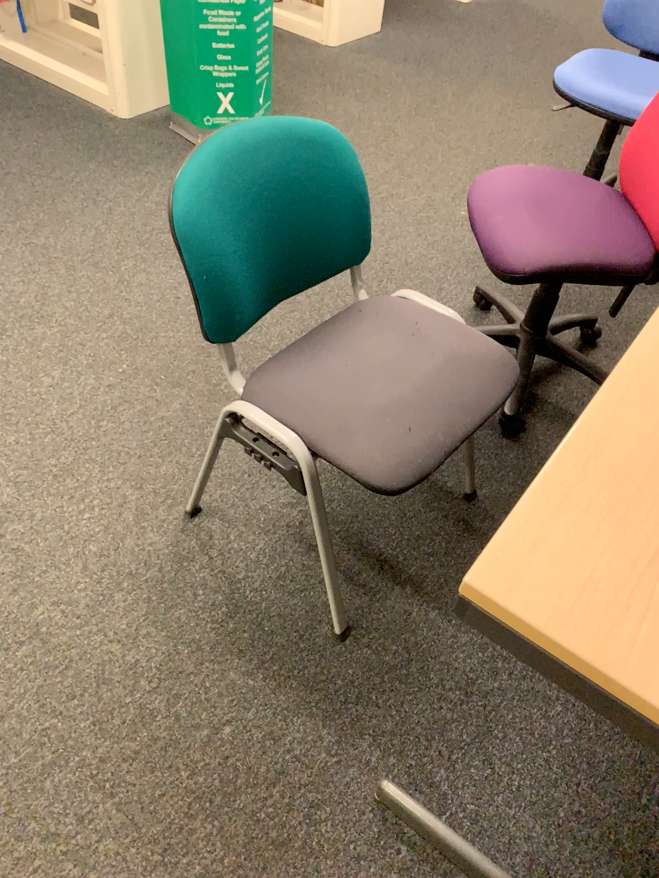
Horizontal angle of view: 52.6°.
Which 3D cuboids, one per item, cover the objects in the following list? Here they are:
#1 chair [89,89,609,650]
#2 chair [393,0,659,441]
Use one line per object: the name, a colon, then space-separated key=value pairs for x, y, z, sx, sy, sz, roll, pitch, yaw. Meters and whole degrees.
chair: x=0.010 y=-0.140 z=1.296 sx=0.600 sy=0.721 sz=0.555 roll=35 pitch=52 yaw=23
chair: x=0.607 y=-0.528 z=1.637 sx=0.668 sy=0.860 sz=0.658 roll=0 pitch=47 yaw=-8
